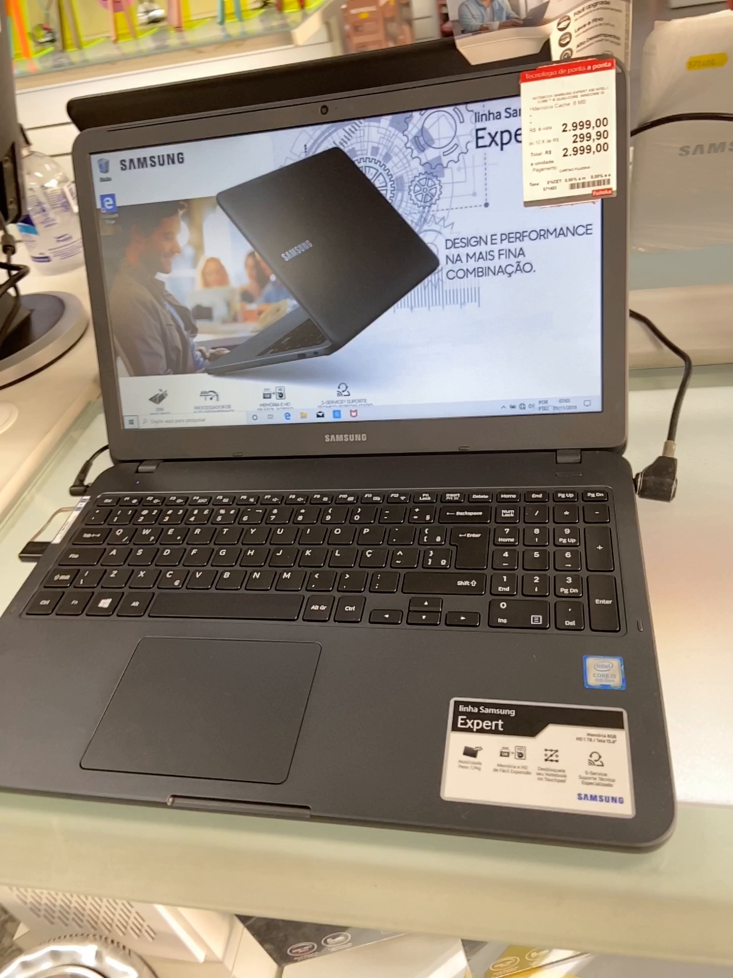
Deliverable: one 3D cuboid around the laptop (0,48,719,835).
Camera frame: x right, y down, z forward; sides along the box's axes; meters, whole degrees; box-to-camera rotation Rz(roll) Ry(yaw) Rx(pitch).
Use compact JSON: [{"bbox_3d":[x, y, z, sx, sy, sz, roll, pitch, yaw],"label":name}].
[{"bbox_3d":[-0.045,-0.056,0.421,0.371,0.200,0.370,-2,41,15],"label":"laptop"}]
